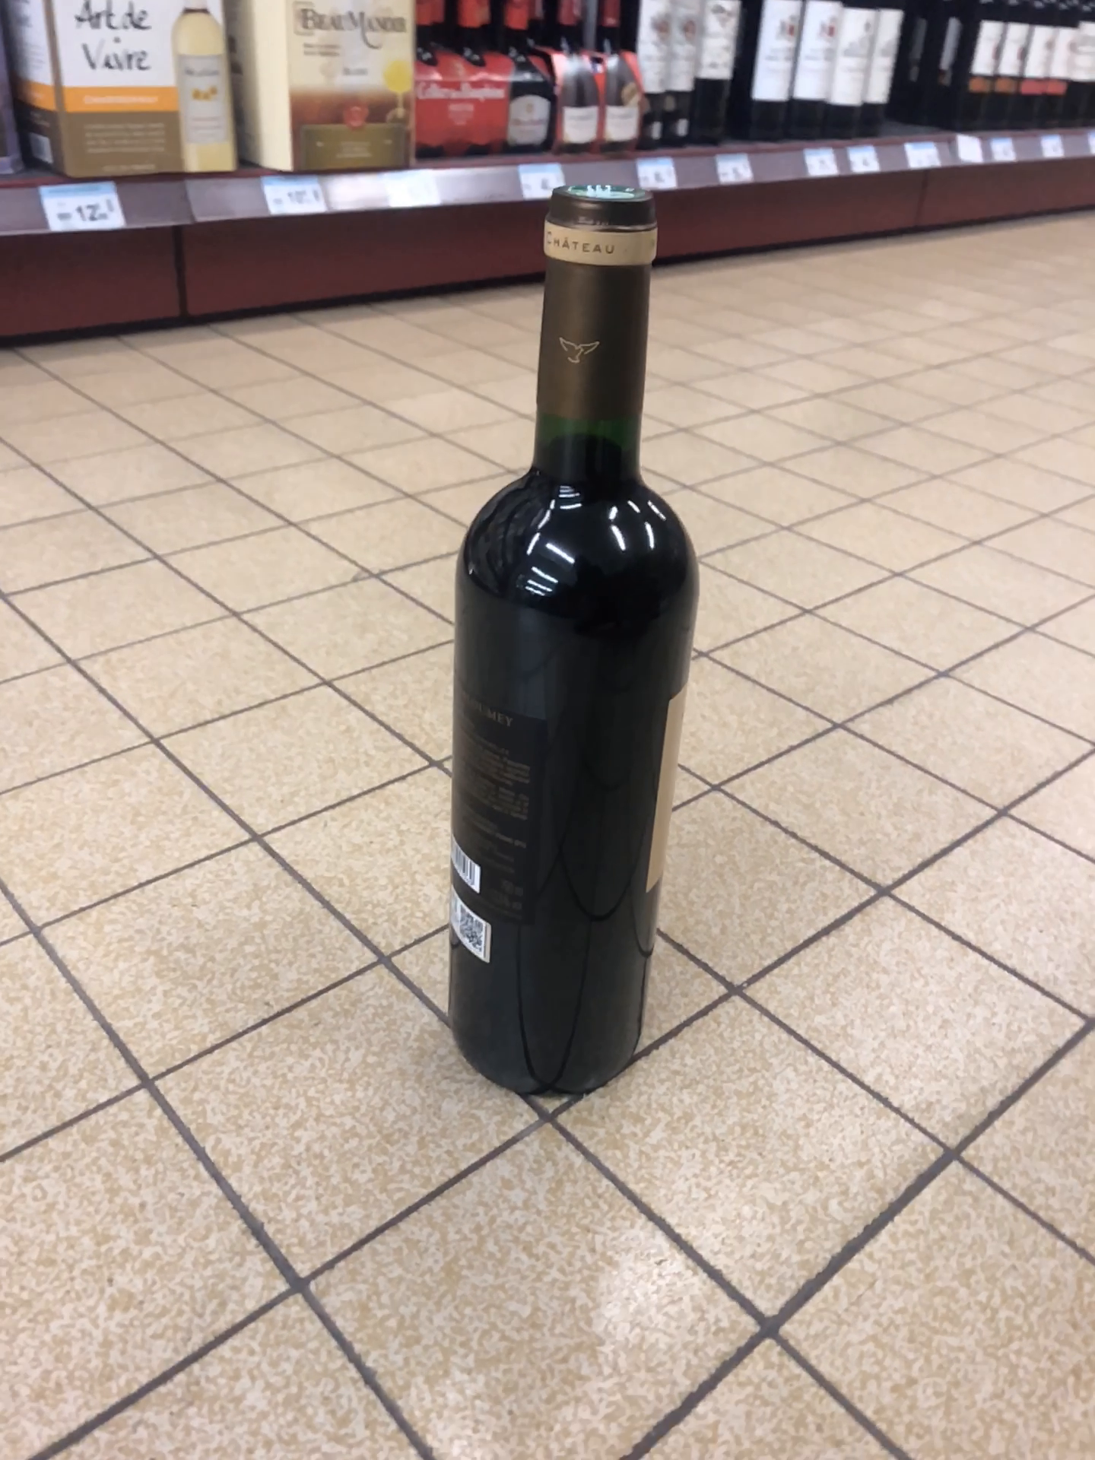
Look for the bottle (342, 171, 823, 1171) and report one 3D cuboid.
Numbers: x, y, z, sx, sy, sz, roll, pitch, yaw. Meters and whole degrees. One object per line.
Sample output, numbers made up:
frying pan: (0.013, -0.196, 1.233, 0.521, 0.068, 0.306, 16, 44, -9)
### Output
bottle: (-0.003, -0.008, 0.369, 0.090, 0.288, 0.080, -13, 35, -26)
